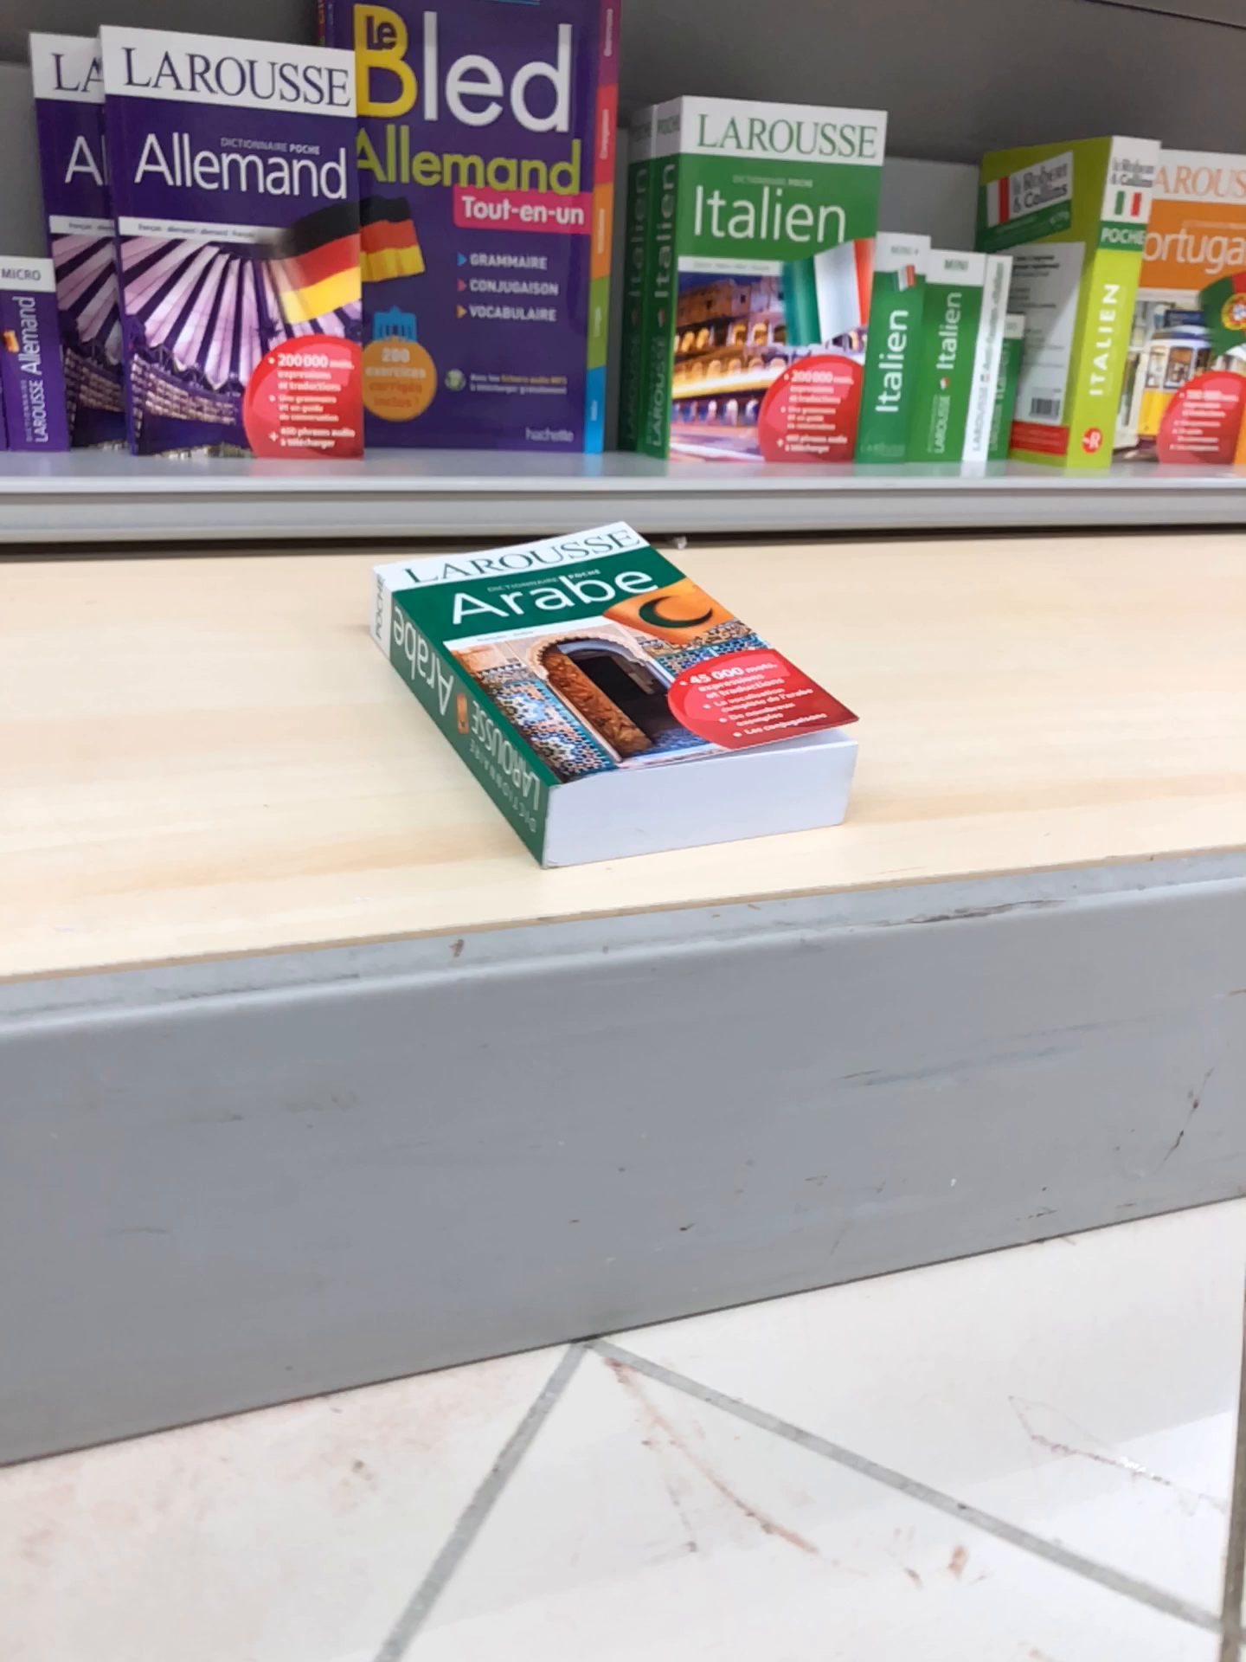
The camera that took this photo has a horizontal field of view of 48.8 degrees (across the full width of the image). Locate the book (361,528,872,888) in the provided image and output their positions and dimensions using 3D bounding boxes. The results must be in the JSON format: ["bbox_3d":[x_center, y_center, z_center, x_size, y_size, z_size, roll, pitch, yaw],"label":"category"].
[{"bbox_3d":[-0.013,-0.054,0.481,0.111,0.045,0.183,-7,32,-24],"label":"book"}]
